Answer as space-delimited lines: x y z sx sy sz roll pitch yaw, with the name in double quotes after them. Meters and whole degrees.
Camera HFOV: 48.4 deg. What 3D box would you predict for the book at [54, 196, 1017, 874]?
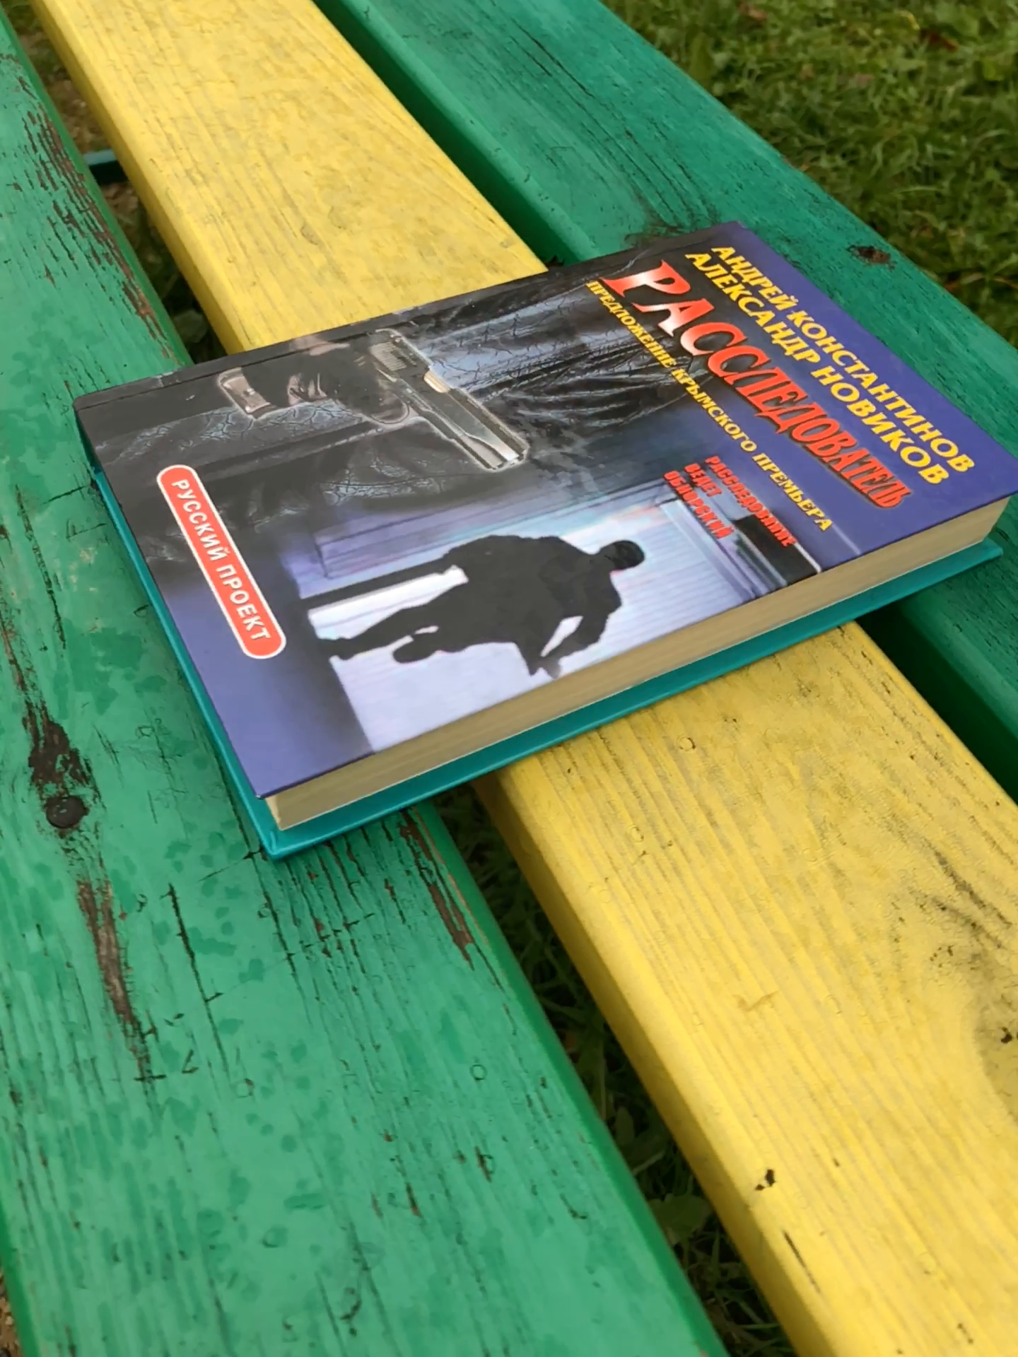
0.008 -0.054 0.288 0.202 0.031 0.139 -21 57 -19 "book"
